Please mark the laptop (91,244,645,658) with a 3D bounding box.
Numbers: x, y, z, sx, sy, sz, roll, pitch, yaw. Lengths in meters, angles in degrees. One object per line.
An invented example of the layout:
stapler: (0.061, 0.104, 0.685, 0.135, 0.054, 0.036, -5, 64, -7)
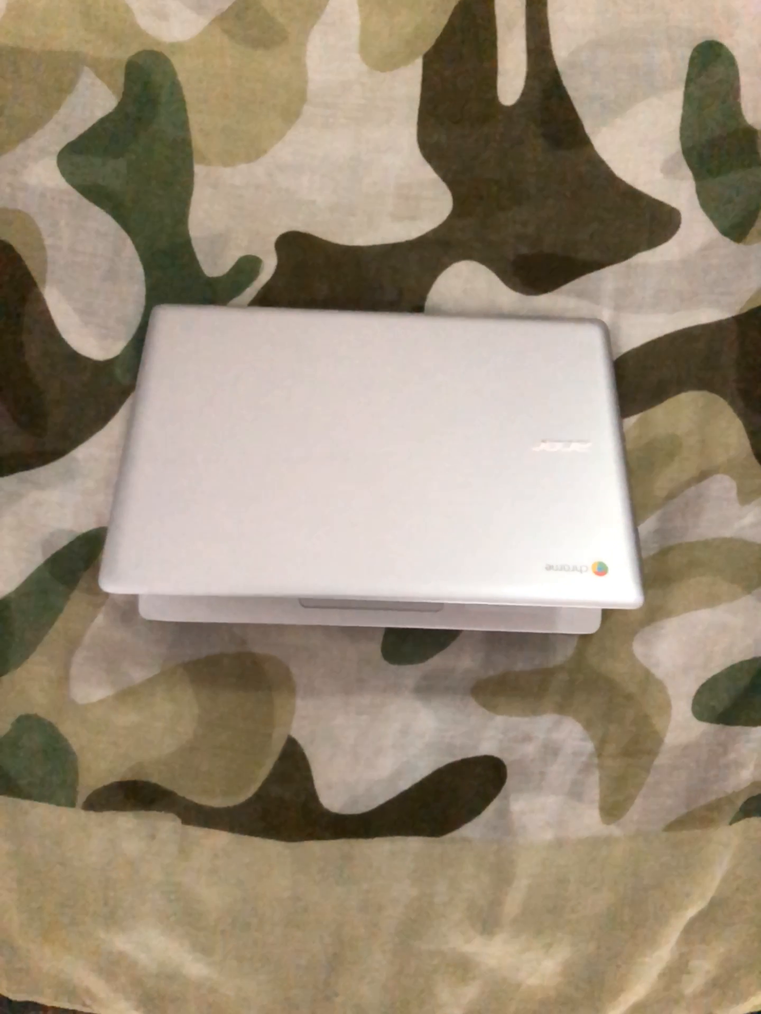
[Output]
laptop: (-0.005, -0.034, 0.552, 0.311, 0.125, 0.232, 2, 82, -1)
